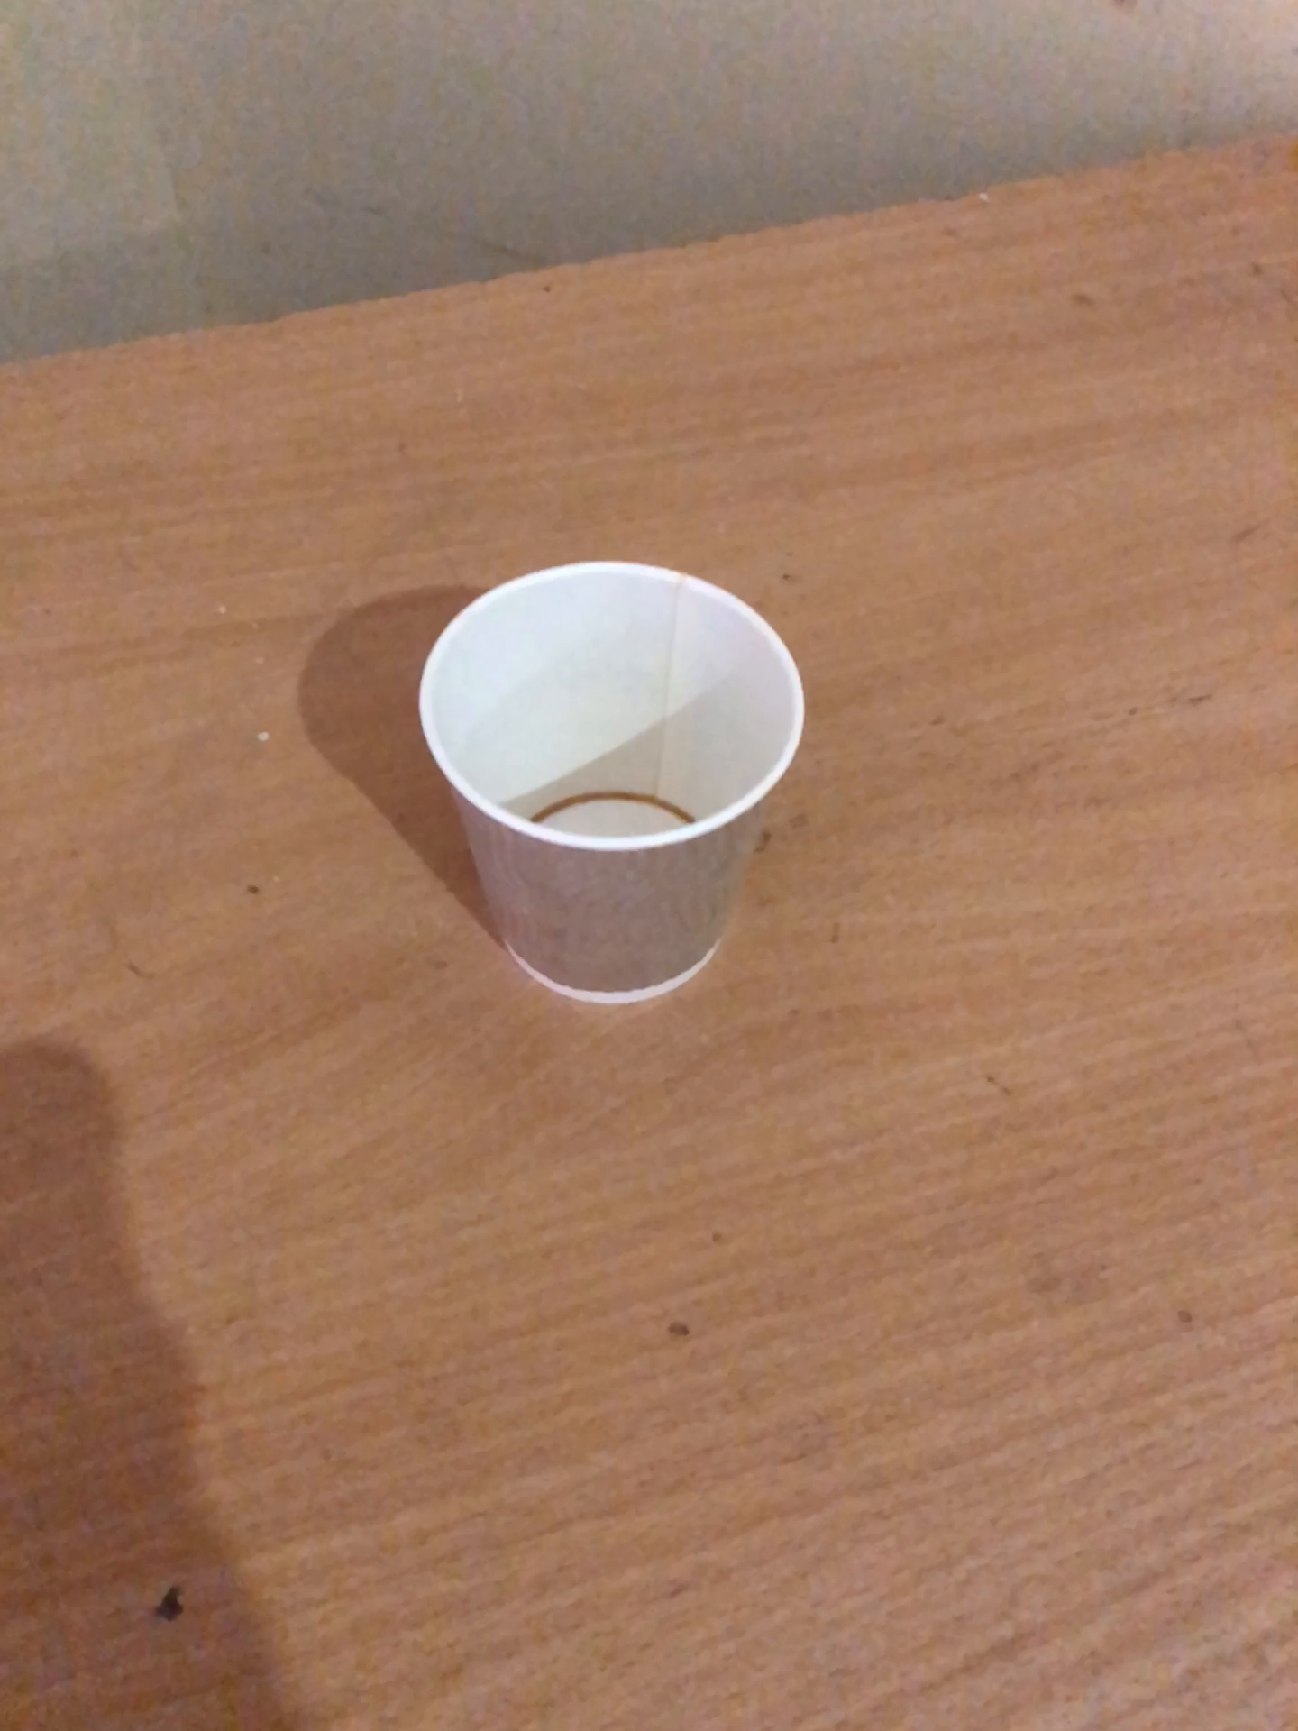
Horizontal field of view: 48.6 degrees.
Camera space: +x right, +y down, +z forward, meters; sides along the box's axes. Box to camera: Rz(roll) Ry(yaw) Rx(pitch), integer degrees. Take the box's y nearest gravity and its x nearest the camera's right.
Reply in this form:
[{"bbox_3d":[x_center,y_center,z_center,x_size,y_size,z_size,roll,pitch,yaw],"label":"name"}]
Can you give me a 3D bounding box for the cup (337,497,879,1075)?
[{"bbox_3d":[-0.007,-0.016,0.293,0.074,0.064,0.067,33,63,20],"label":"cup"}]
